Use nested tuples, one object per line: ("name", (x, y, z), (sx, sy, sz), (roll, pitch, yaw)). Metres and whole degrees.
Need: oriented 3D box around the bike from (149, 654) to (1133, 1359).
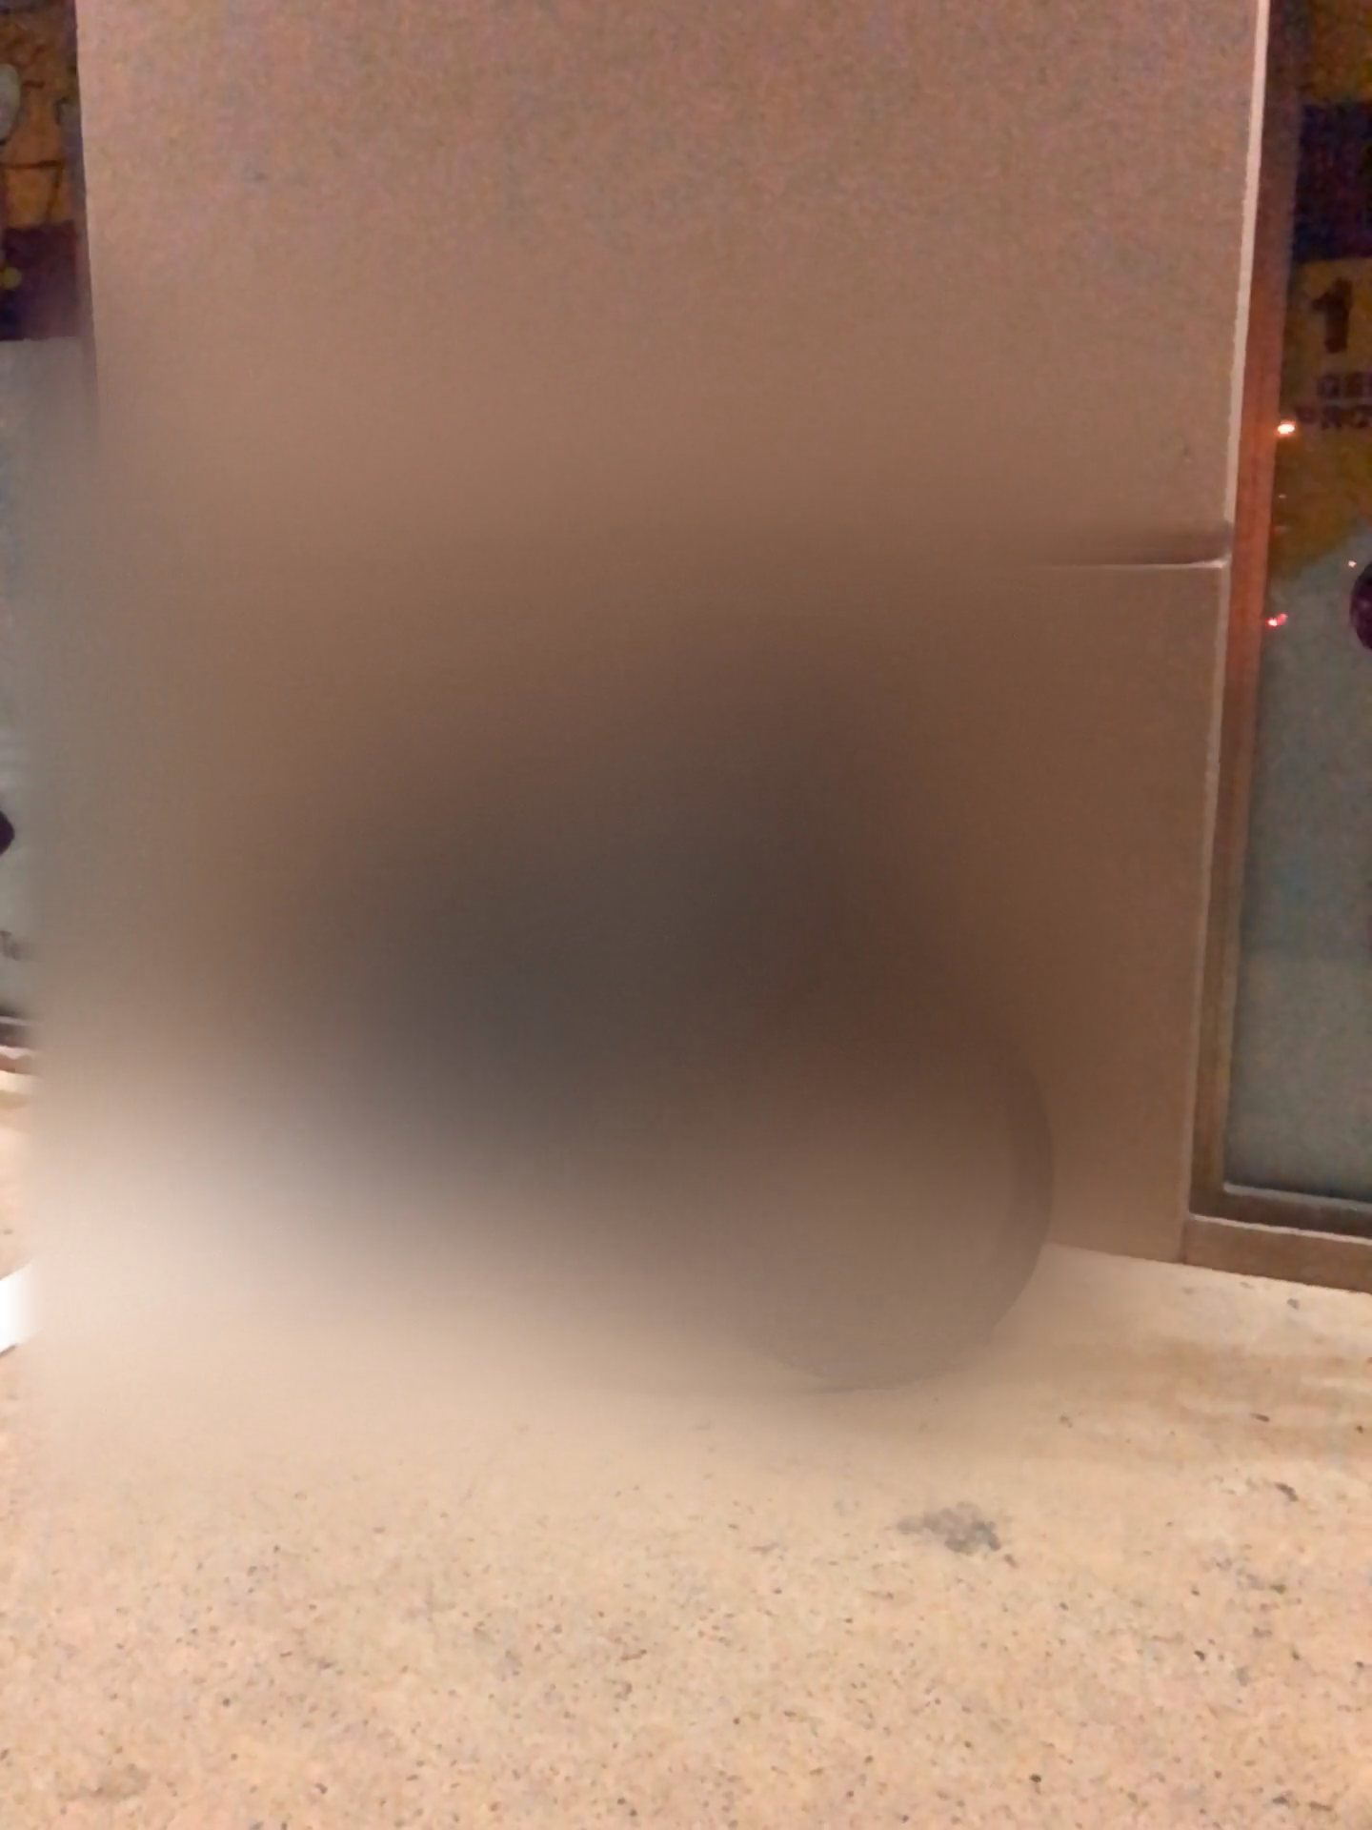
("bike", (-0.107, 0.059, 2.798), (1.603, 1.065, 0.588), (5, 11, 24))
